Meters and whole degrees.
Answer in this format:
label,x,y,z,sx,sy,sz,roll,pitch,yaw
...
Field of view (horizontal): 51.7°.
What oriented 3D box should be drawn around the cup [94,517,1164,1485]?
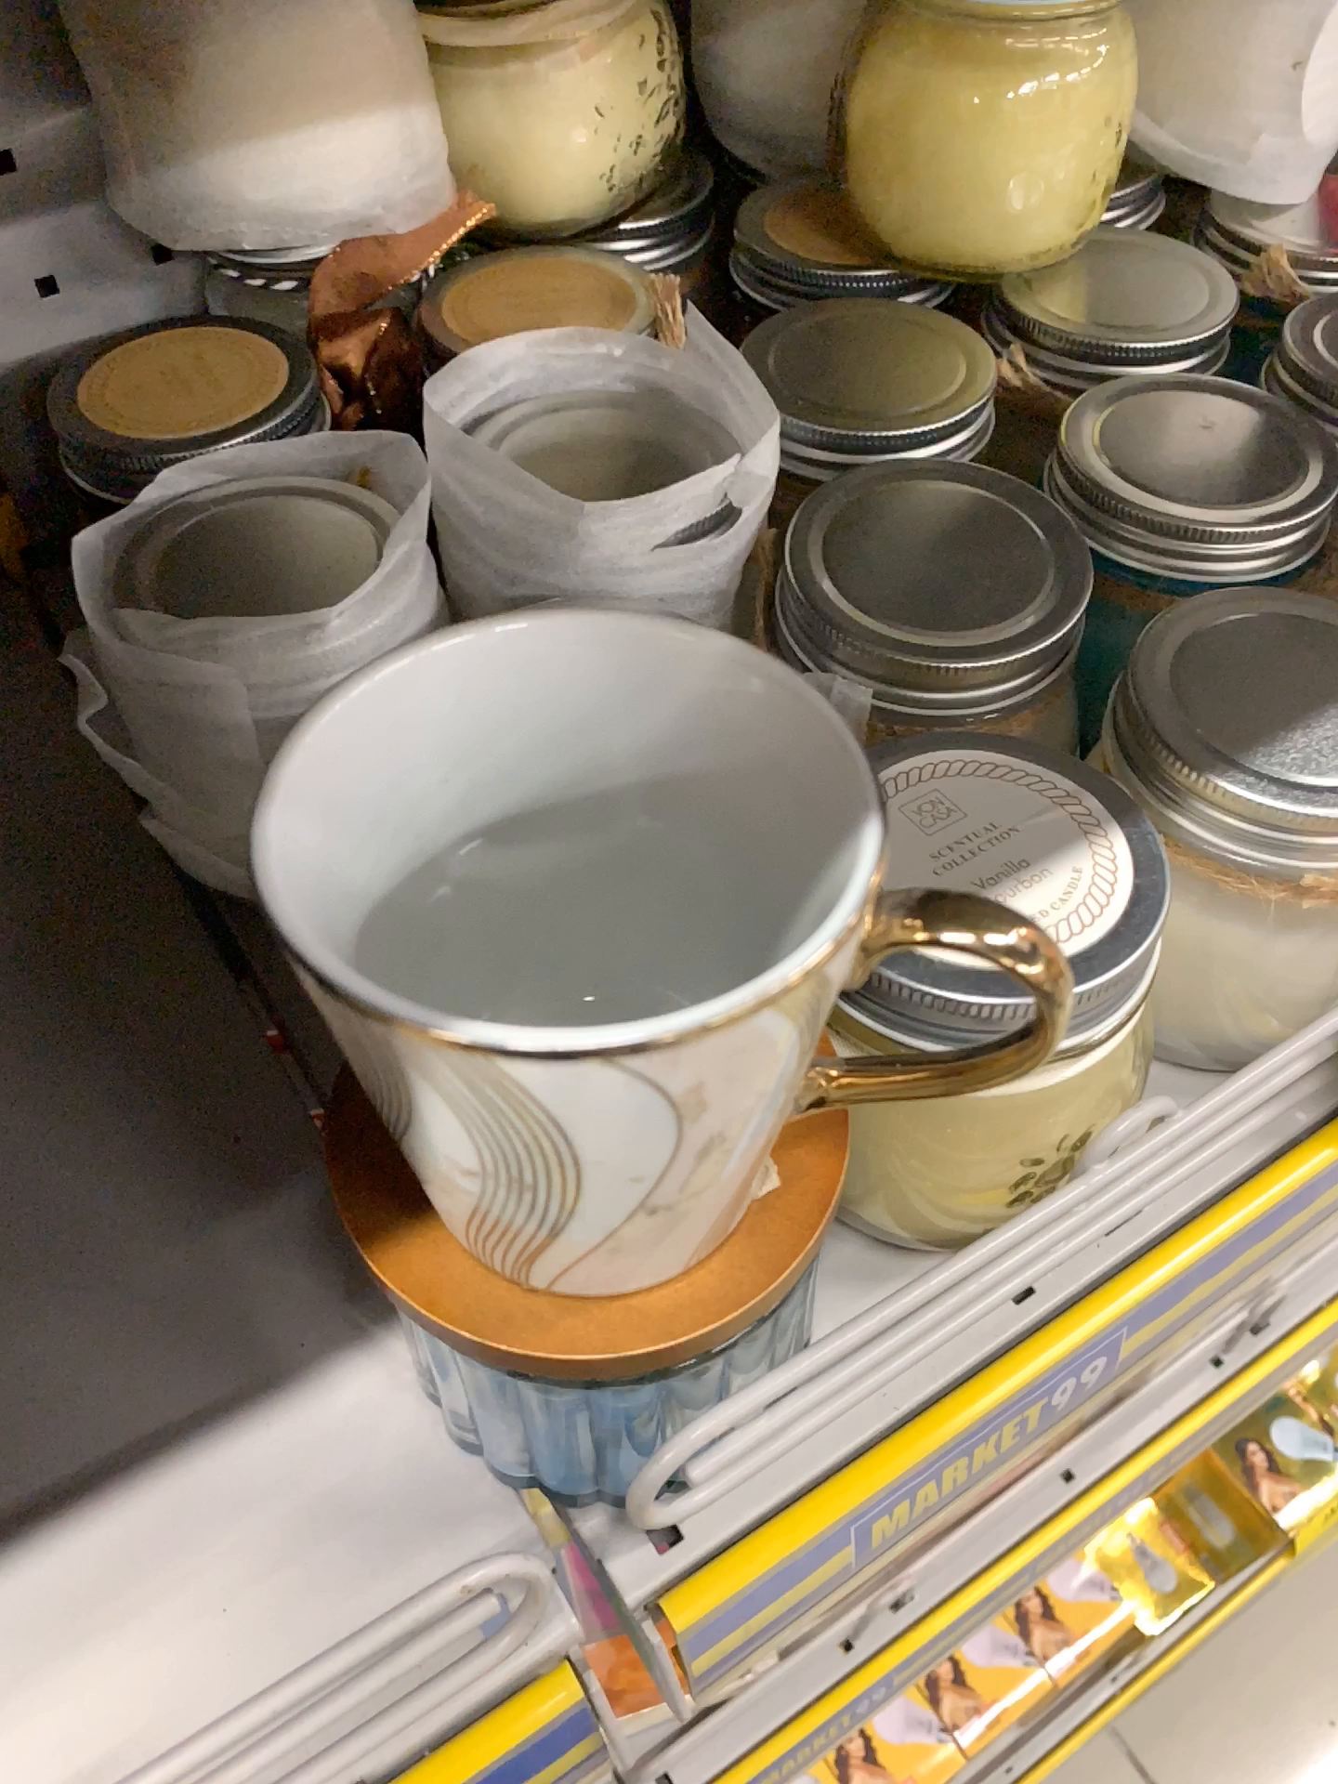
label,x,y,z,sx,sy,sz,roll,pitch,yaw
cup,0.002,0.012,0.163,0.090,0.070,0.070,11,51,9
